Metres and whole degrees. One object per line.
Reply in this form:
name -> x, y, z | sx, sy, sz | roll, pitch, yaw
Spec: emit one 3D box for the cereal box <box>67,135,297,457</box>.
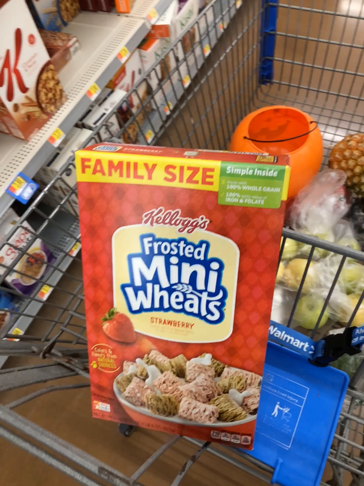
cereal box -> -0.002, 0.058, 0.429 | 0.200, 0.320, 0.070 | 6, 21, 12
